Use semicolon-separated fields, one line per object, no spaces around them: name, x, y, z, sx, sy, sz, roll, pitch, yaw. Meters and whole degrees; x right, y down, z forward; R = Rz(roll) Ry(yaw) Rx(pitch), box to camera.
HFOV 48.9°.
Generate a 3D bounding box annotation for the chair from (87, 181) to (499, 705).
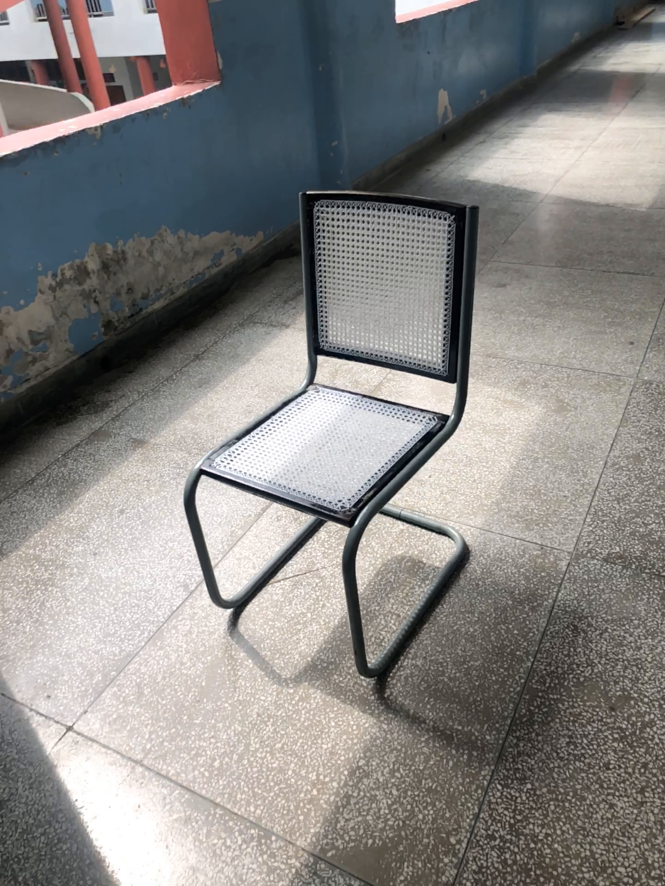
chair;-0.013;-0.031;1.515;0.491;0.817;0.571;16;40;30
